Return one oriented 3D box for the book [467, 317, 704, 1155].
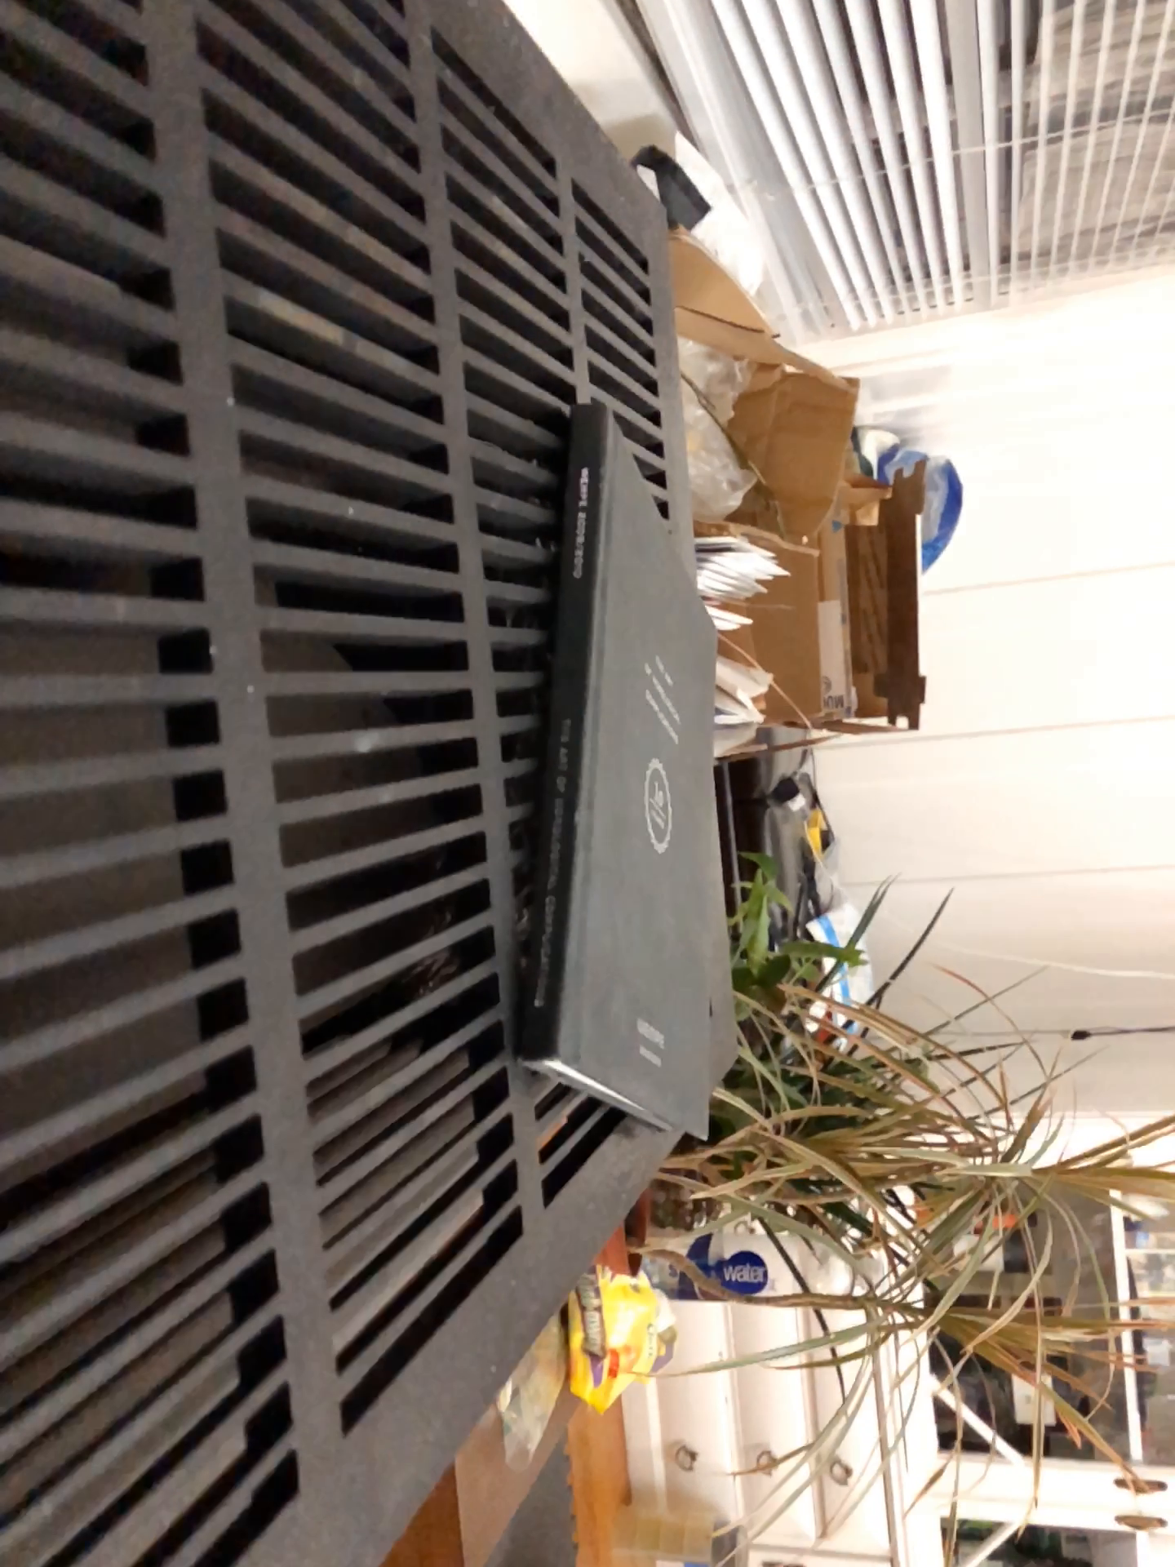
[{"bbox_3d":[0.010,-0.008,0.453,0.160,0.020,0.250,48,41,-61],"label":"book"}]
